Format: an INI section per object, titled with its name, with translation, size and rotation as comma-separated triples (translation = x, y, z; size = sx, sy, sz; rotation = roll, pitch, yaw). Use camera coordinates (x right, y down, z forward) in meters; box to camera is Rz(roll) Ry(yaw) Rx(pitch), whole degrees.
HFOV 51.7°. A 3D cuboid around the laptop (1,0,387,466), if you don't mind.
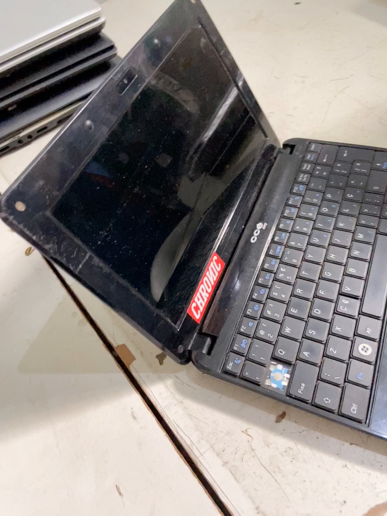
[laptop]
translation = 0.077, -0.053, 0.277
size = 0.257, 0.137, 0.254
rotation = 15, 59, 20
